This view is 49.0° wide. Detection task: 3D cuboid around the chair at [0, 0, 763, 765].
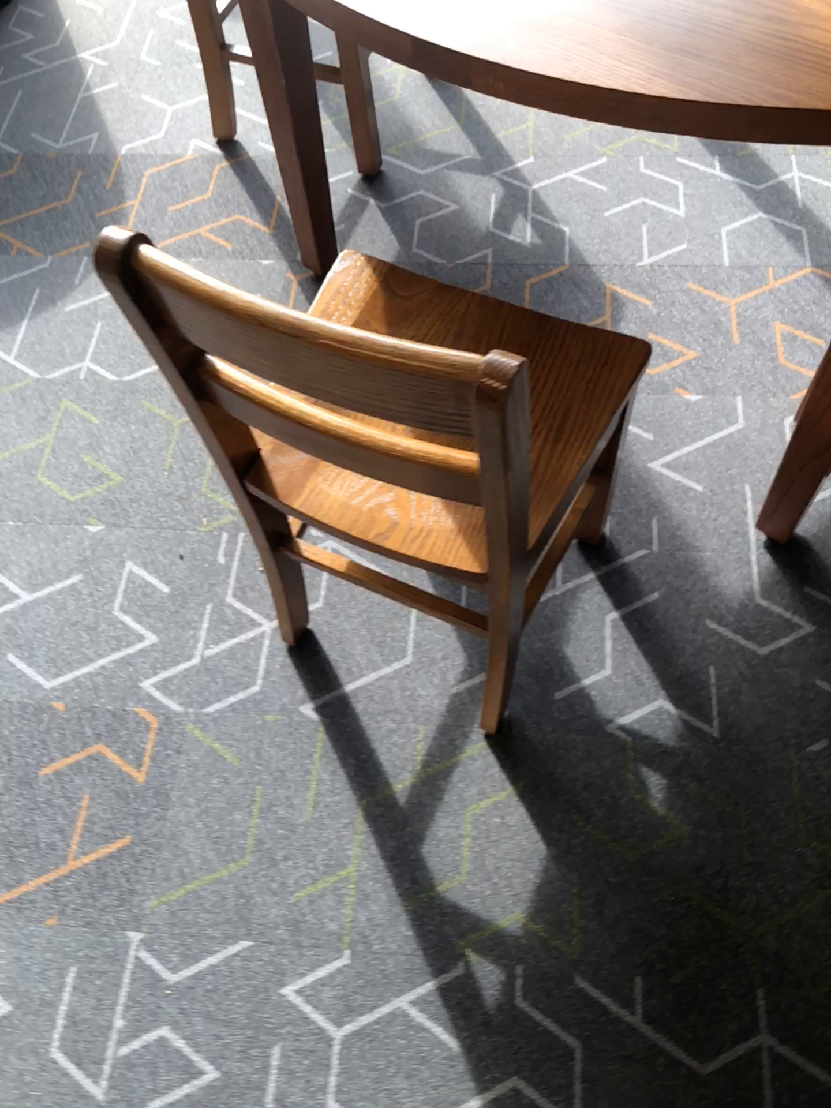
[{"bbox_3d":[0.016,-0.135,0.888,0.371,0.667,0.391,20,65,15],"label":"chair"}]
